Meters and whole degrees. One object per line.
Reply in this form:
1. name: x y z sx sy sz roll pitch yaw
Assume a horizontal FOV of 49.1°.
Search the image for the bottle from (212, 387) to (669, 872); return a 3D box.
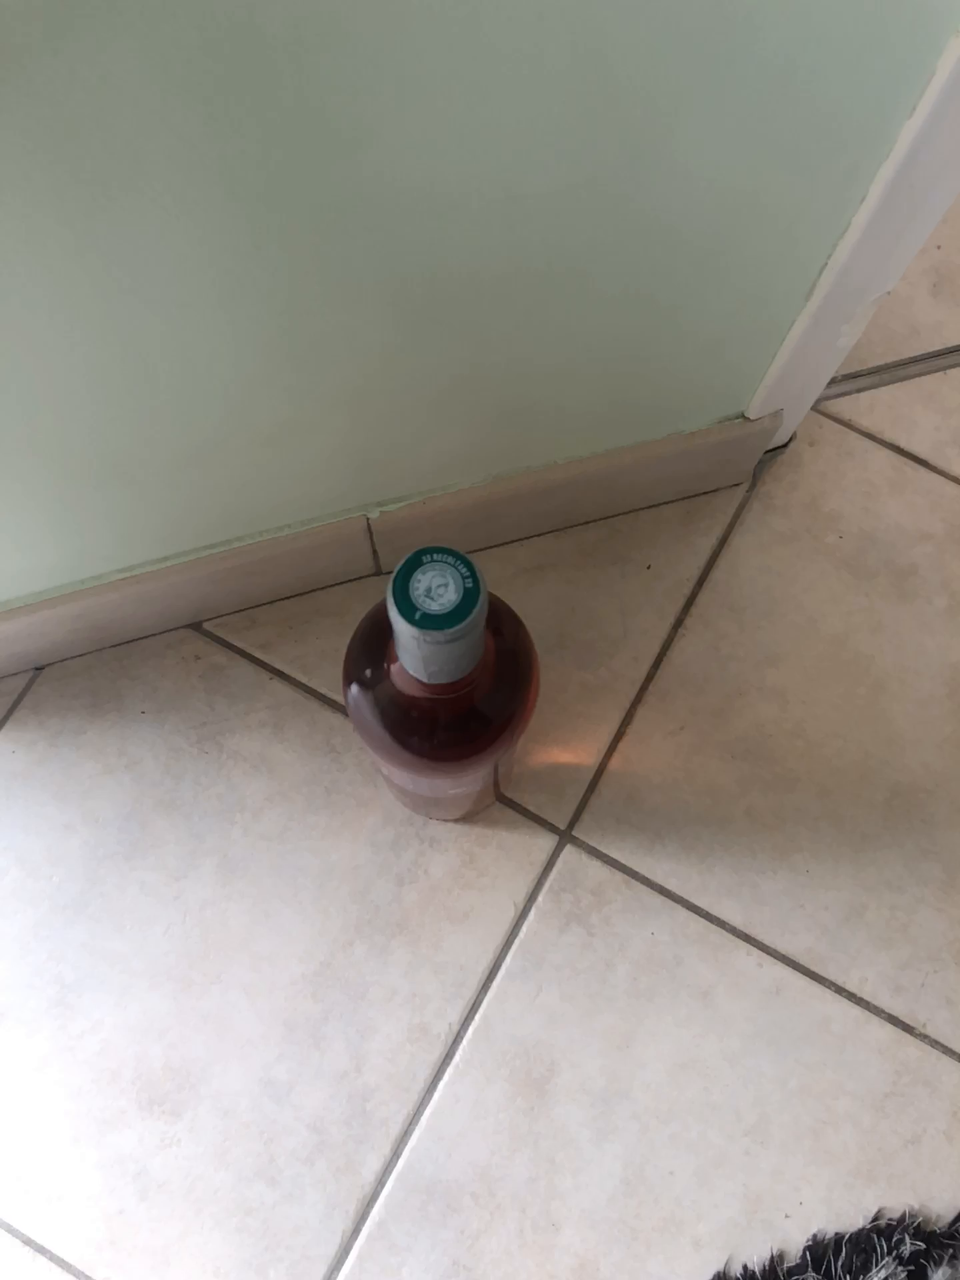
1. bottle: -0.013 0.024 0.424 0.090 0.290 0.090 0 75 -1
